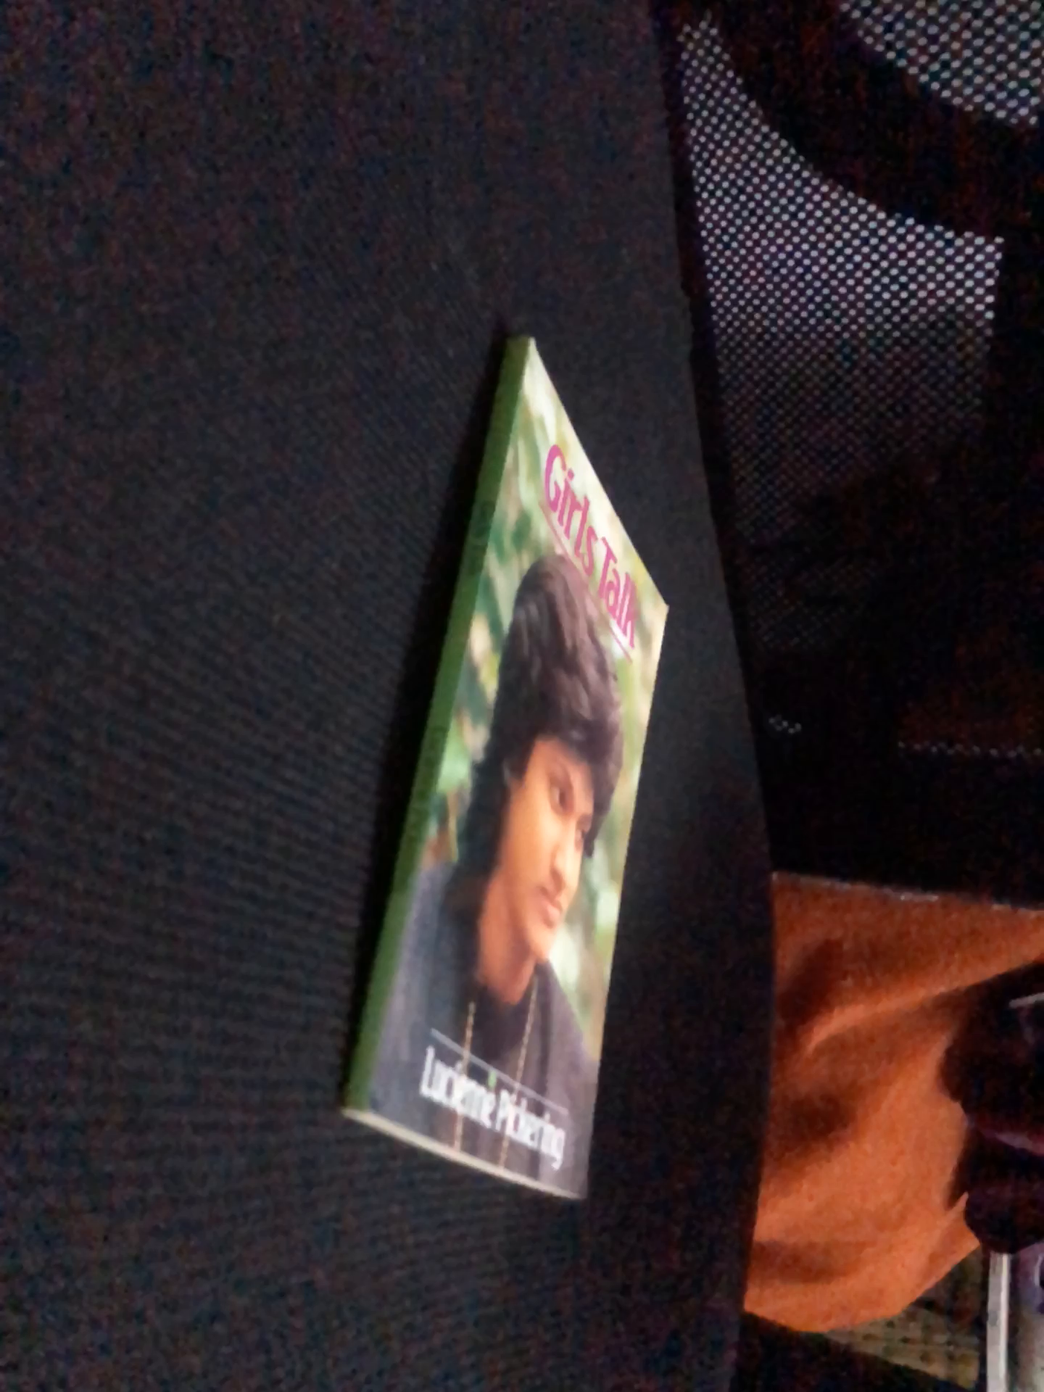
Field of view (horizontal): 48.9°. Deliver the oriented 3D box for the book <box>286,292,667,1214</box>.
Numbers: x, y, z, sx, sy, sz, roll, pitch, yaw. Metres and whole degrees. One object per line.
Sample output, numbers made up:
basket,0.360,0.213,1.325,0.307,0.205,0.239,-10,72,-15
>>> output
book,0.004,0.018,0.297,0.131,0.010,0.200,53,41,-53
